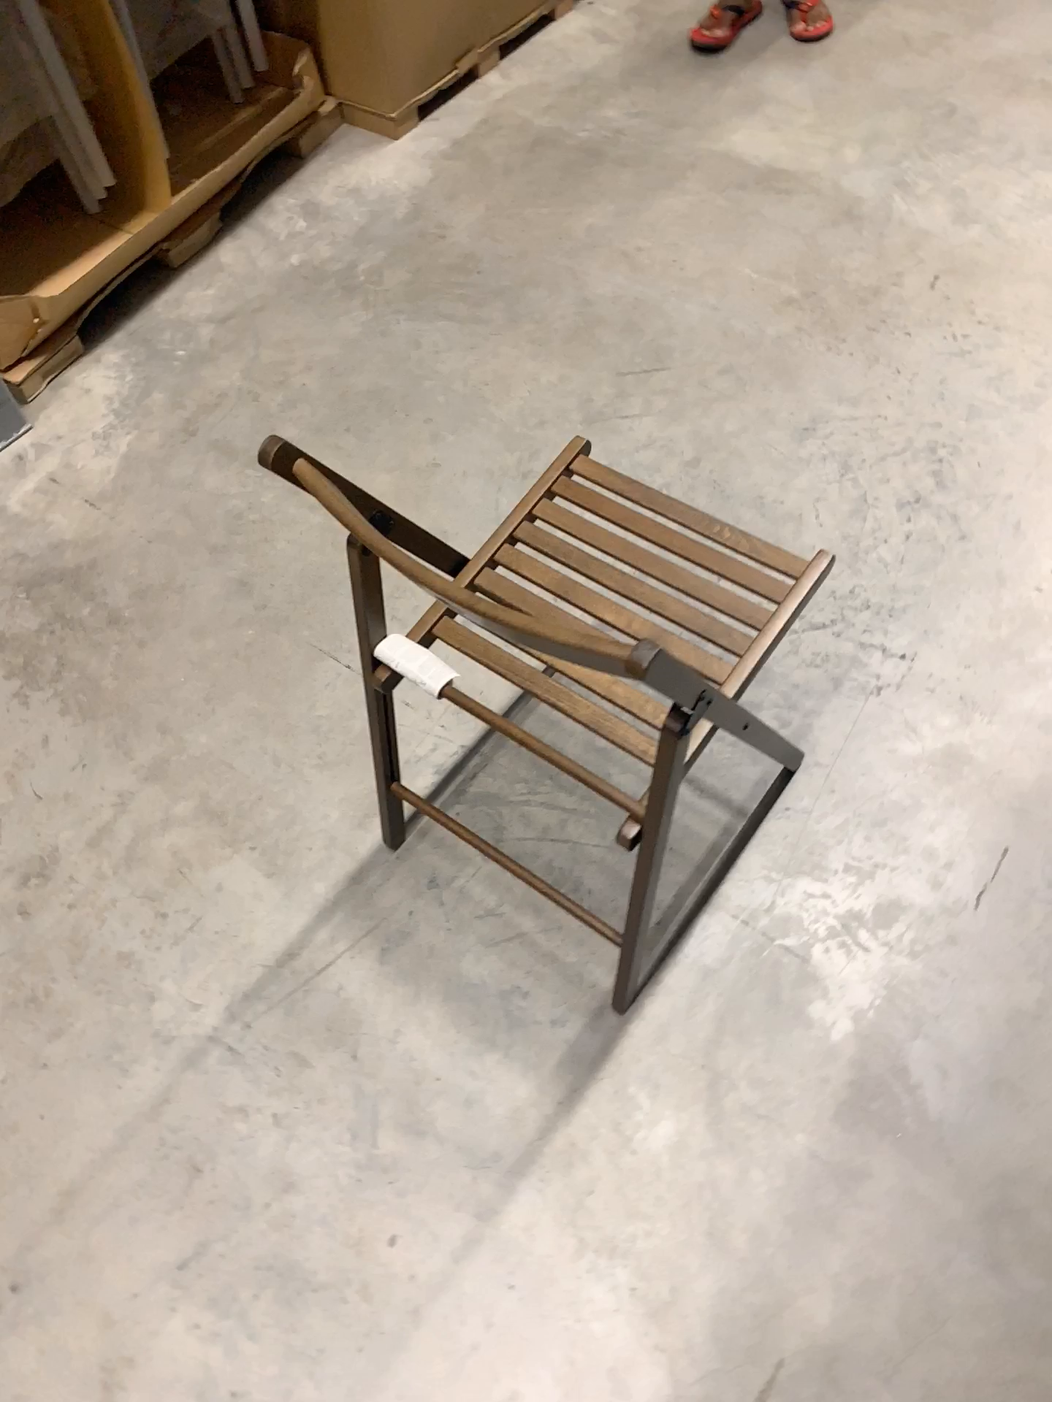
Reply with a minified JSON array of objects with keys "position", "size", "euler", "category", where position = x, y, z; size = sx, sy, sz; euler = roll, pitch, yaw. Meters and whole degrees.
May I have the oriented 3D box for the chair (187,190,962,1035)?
[{"position":[0.072,-0.065,1.229],"size":[0.481,0.698,0.500],"euler":[30,64,23],"category":"chair"}]
